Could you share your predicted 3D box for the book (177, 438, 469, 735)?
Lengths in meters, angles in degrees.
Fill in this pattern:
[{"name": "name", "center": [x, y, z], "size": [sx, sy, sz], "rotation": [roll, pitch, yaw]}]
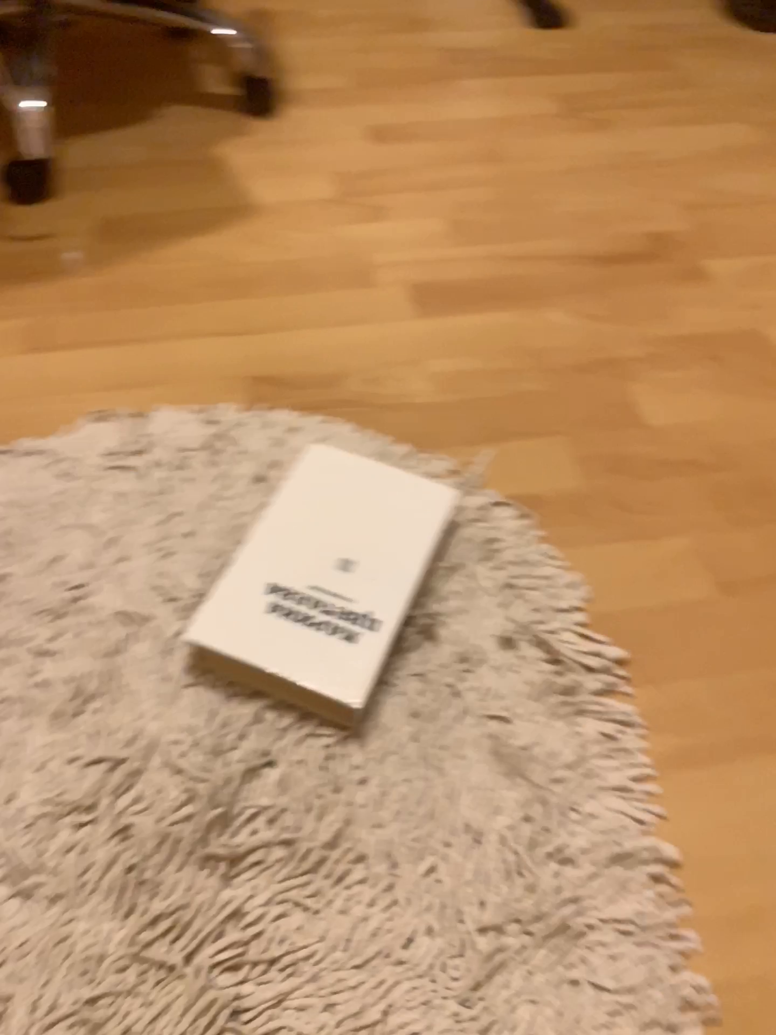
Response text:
[{"name": "book", "center": [-0.040, 0.040, 0.608], "size": [0.140, 0.040, 0.209], "rotation": [18, 52, 13]}]
